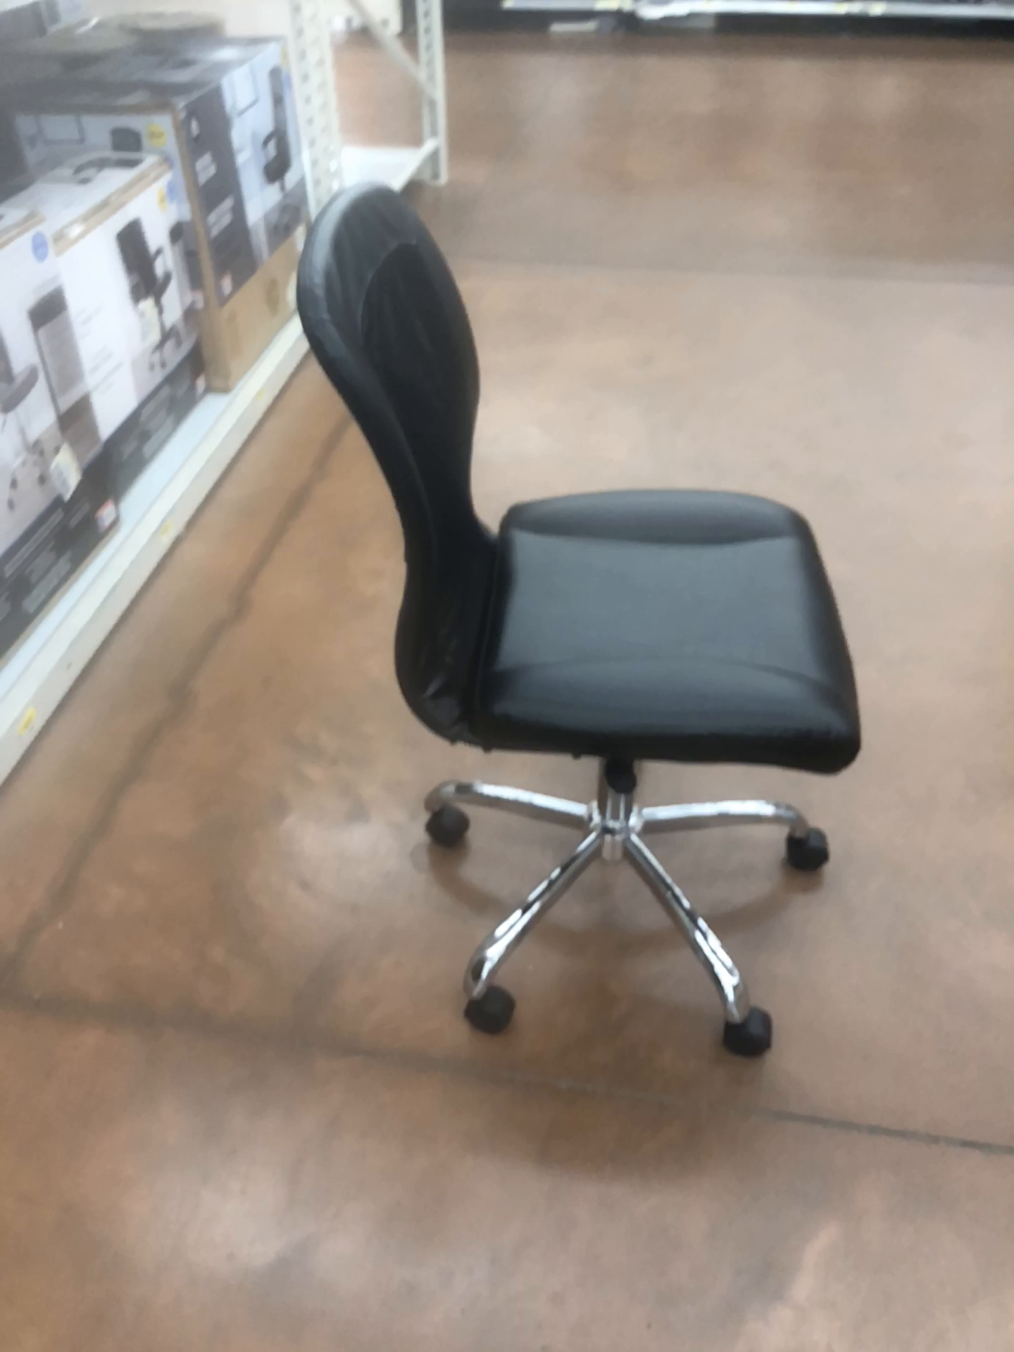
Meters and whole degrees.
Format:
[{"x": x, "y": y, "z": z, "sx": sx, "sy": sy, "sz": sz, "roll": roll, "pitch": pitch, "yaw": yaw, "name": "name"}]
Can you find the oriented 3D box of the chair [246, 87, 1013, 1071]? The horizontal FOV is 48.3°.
[{"x": 0.191, "y": -0.126, "z": 1.263, "sx": 0.650, "sy": 0.817, "sz": 0.683, "roll": 4, "pitch": 39, "yaw": 6, "name": "chair"}]
